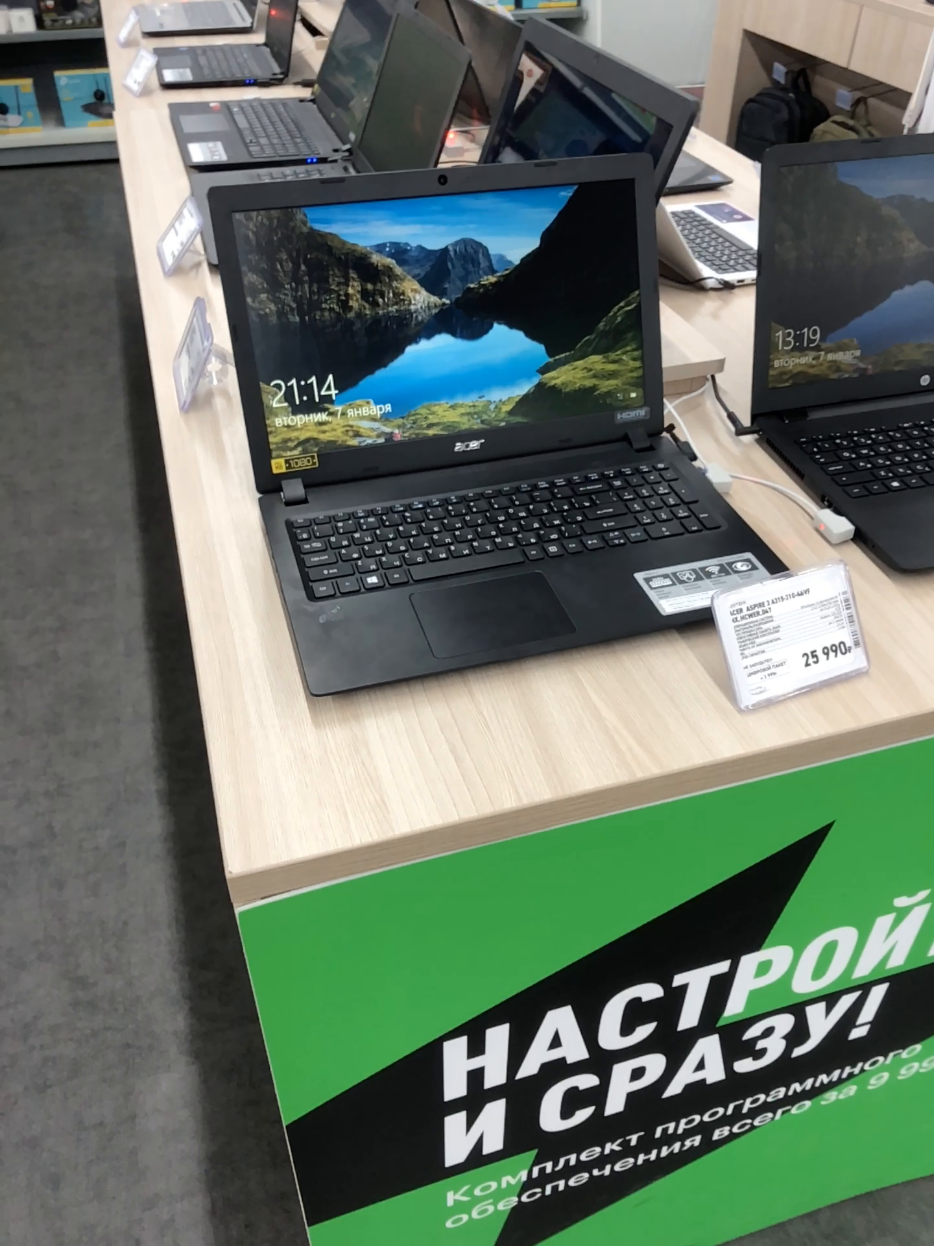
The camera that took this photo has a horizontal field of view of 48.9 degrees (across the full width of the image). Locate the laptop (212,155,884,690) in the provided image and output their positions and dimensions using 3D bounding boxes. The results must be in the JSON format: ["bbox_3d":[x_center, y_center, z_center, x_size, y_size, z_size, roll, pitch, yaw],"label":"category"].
[{"bbox_3d":[0.027,-0.181,0.791,0.374,0.219,0.349,-11,41,-13],"label":"laptop"}]

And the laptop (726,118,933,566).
[{"bbox_3d":[0.481,-0.255,0.880,0.359,0.220,0.296,-11,42,-12],"label":"laptop"}]

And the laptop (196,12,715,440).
[{"bbox_3d":[-0.040,-0.434,1.065,0.395,0.250,0.403,-12,41,-12],"label":"laptop"}]
